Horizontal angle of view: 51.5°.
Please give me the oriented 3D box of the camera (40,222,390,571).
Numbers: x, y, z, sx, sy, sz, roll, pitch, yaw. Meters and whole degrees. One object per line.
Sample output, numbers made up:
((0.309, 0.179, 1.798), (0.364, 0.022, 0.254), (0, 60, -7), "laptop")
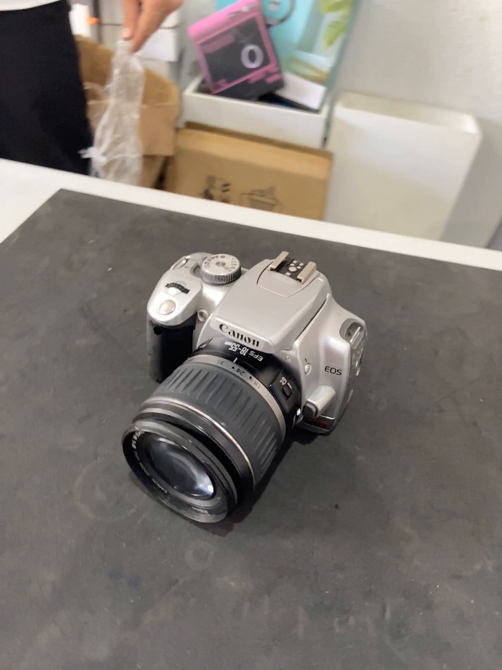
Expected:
((-0.010, 0.020, 0.283), (0.120, 0.079, 0.141), (21, 42, 16), "camera")
